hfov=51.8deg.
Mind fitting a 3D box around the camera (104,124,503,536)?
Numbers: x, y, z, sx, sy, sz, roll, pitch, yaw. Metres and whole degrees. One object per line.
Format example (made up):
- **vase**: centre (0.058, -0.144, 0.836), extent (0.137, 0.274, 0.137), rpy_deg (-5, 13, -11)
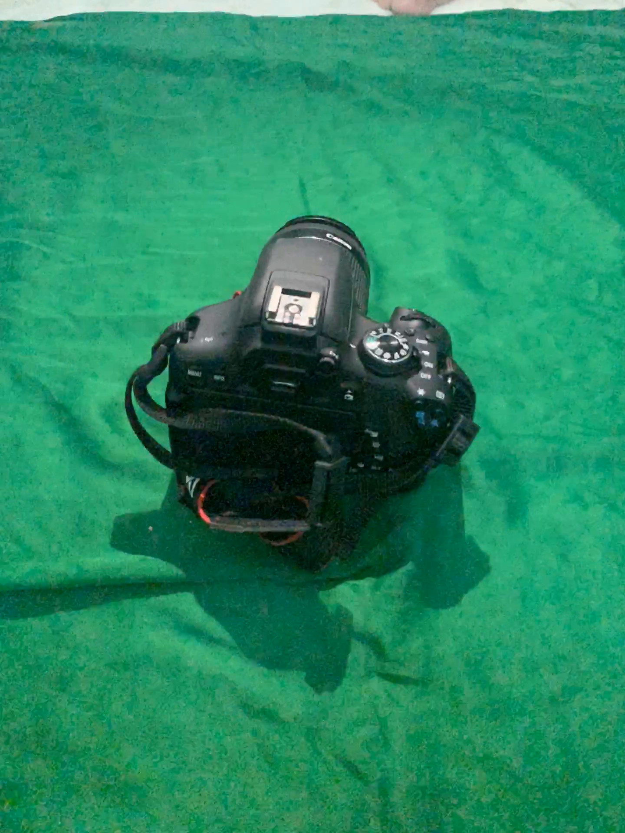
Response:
- **camera**: centre (0.005, -0.053, 0.341), extent (0.152, 0.100, 0.191), rpy_deg (5, 53, 4)
